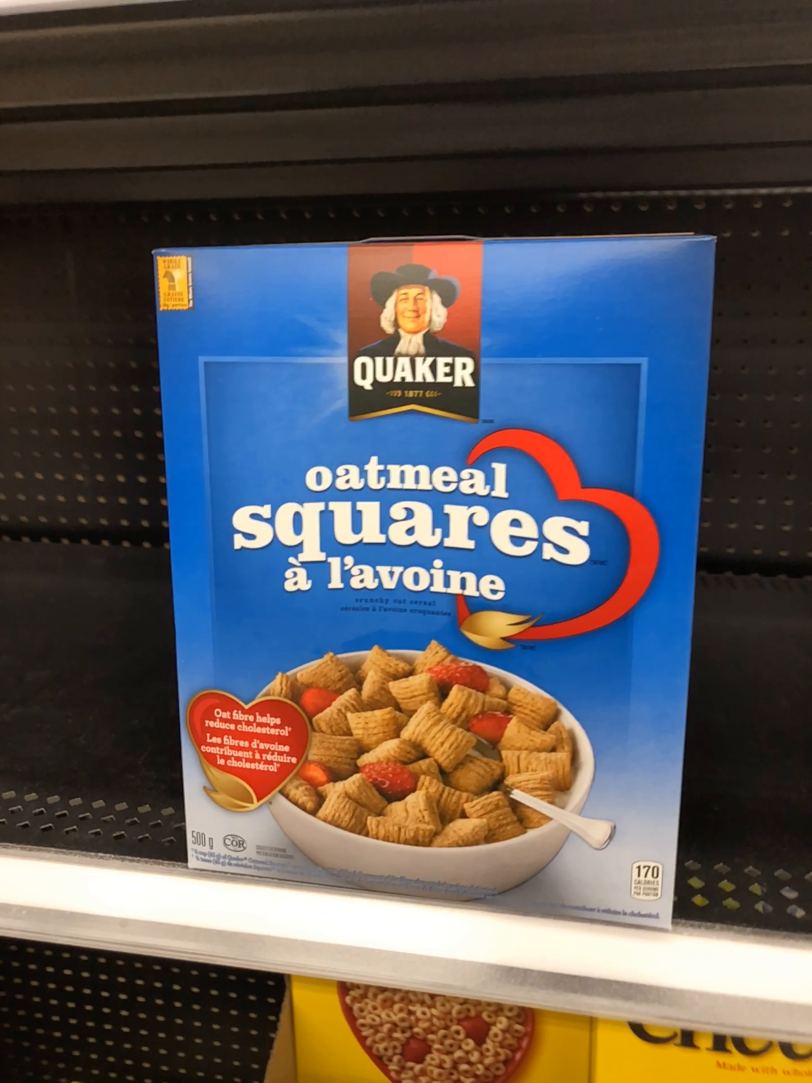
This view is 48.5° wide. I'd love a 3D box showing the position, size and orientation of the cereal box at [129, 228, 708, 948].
[{"bbox_3d":[0.003,0.018,0.383,0.210,0.279,0.060,3,14,10],"label":"cereal box"}]
